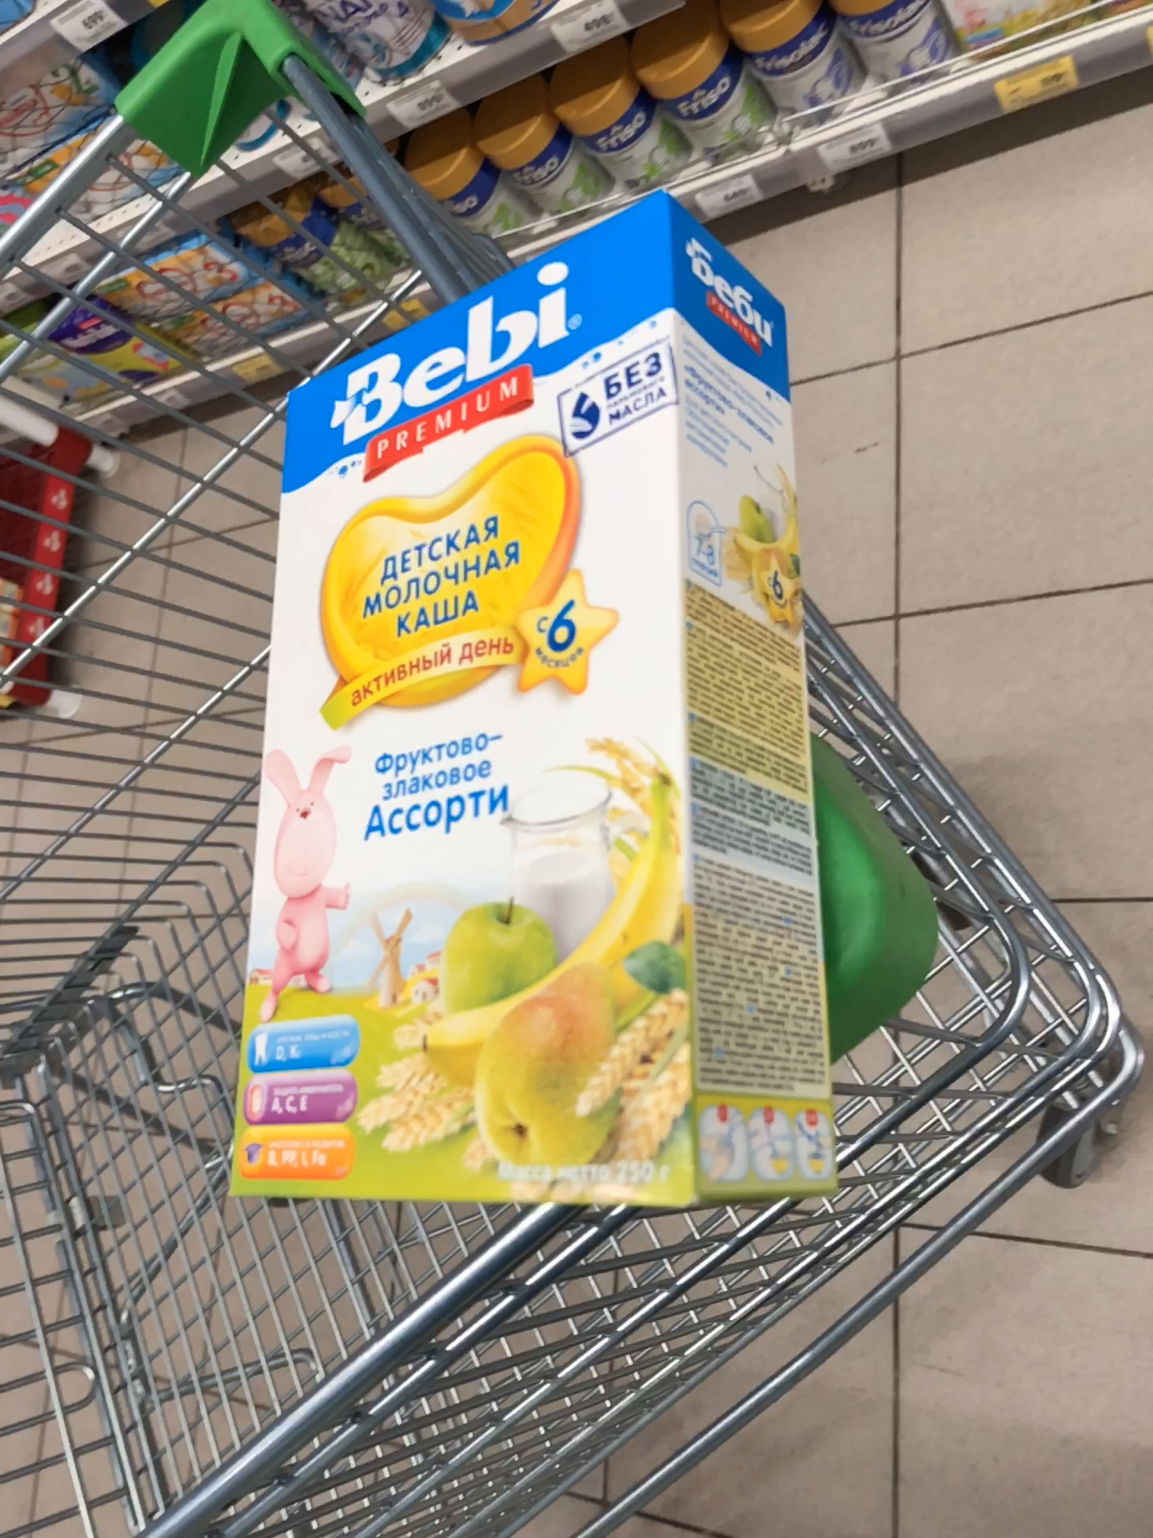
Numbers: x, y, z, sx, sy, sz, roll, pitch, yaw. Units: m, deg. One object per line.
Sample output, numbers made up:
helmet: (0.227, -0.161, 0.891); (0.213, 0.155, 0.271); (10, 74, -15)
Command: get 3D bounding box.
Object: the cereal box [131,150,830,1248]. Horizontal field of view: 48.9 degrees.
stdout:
cereal box: (-0.028, -0.006, 0.292); (0.151, 0.050, 0.210); (-14, 68, 37)
